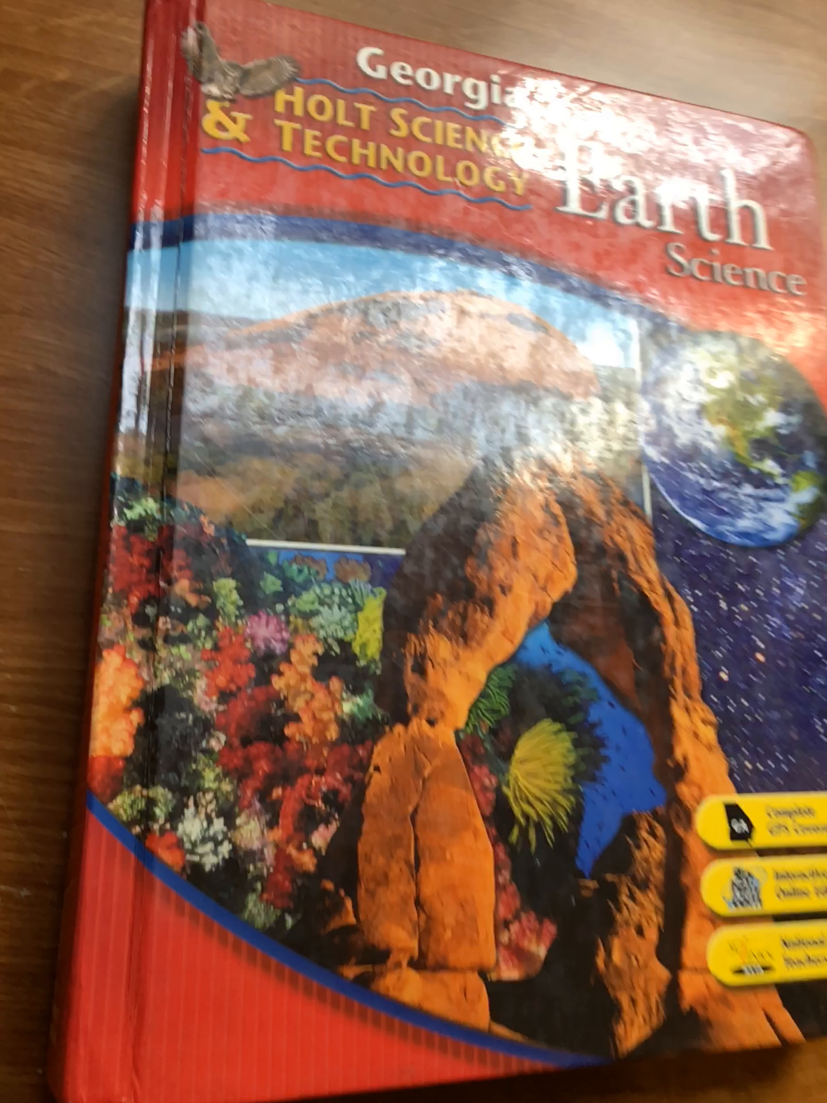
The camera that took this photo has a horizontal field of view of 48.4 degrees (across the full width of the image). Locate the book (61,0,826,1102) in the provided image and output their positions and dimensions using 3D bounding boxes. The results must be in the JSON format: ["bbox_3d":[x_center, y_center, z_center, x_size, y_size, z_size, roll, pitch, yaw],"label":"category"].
[{"bbox_3d":[0.033,-0.003,0.249,0.215,0.050,0.266,4,75,-17],"label":"book"}]
